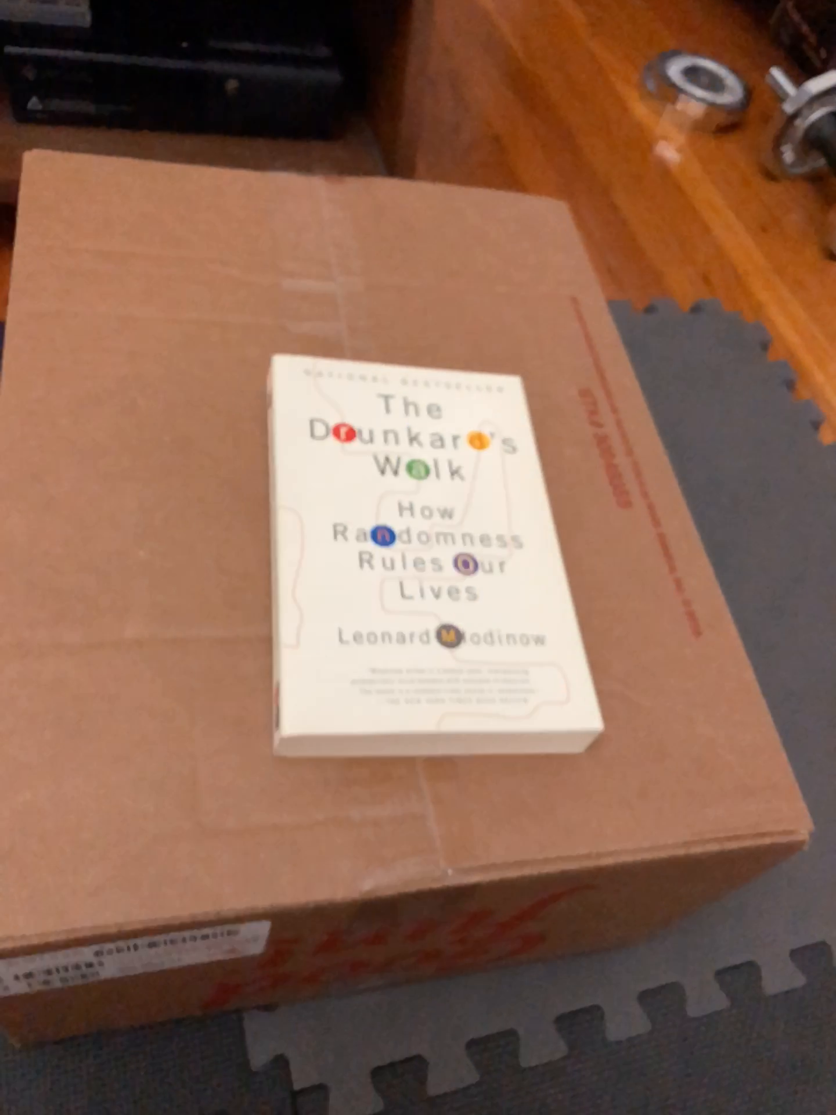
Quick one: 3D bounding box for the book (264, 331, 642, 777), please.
[{"bbox_3d":[0.004,-0.010,0.426,0.140,0.040,0.211,2,55,-14],"label":"book"}]
